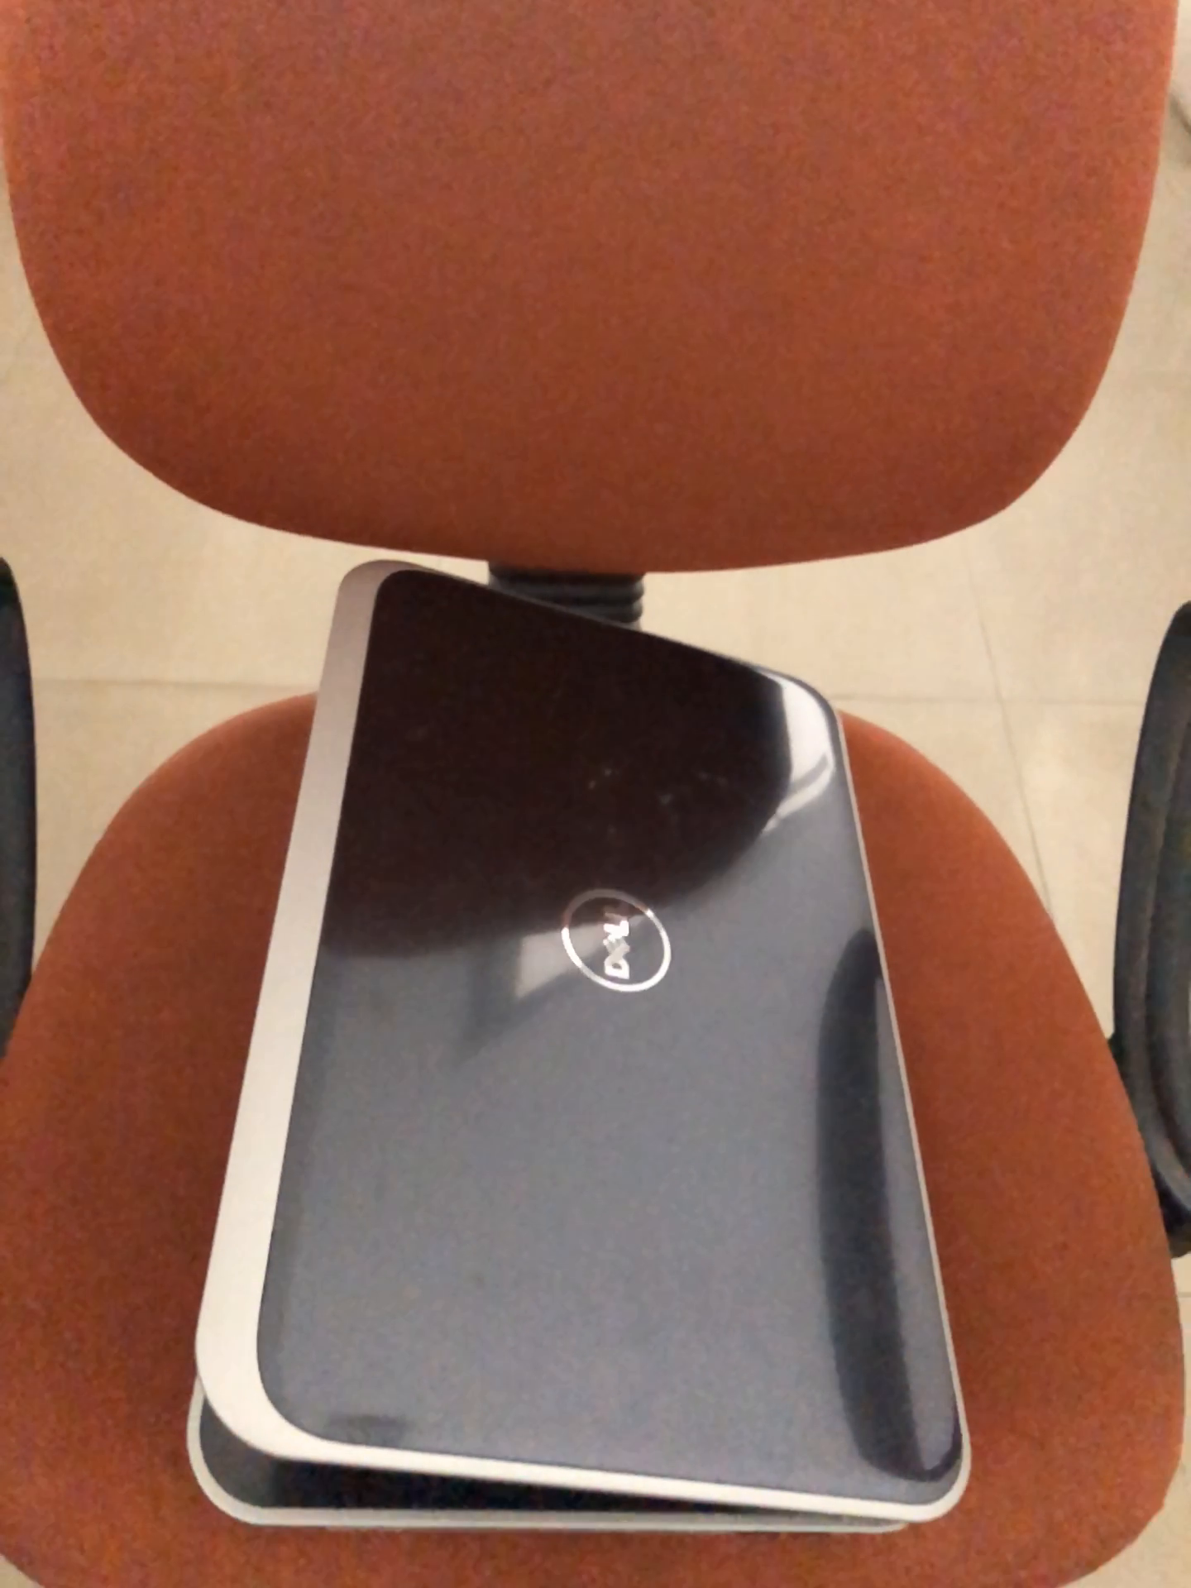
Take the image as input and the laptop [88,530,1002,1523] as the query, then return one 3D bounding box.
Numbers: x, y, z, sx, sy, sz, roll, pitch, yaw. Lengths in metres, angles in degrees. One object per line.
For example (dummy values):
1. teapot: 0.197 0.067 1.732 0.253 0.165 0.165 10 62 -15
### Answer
1. laptop: -0.011 0.057 0.494 0.233 0.091 0.368 2 49 -3
